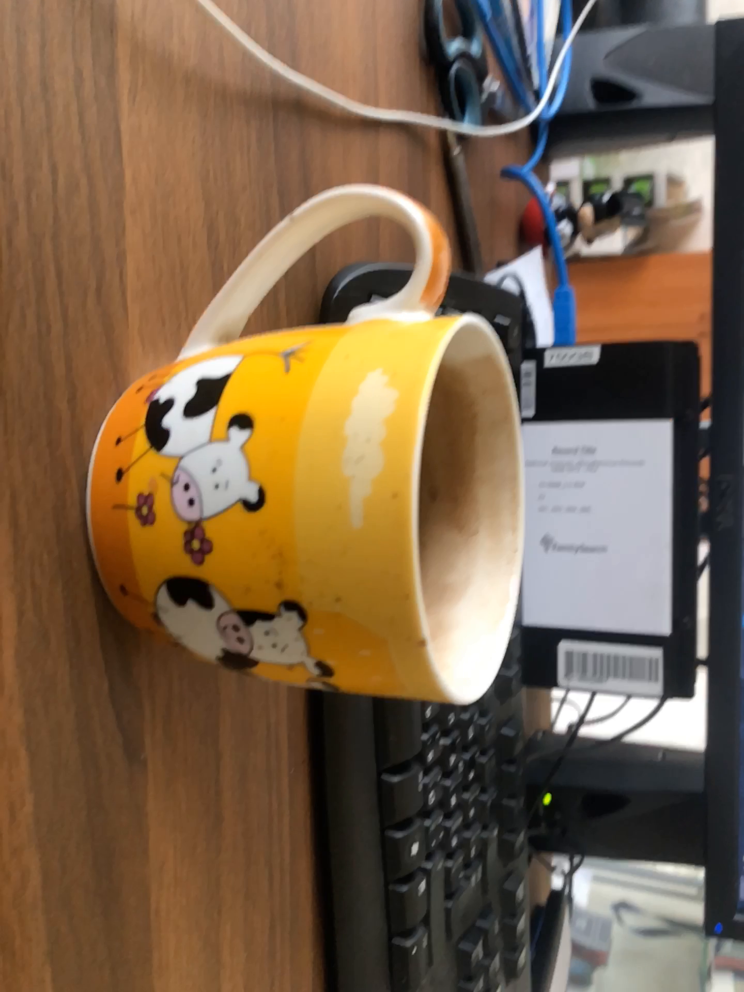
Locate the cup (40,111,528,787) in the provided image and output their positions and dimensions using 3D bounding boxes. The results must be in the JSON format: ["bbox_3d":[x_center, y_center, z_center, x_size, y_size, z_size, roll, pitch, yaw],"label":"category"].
[{"bbox_3d":[-0.016,-0.012,0.226,0.093,0.095,0.135,-11,100,-66],"label":"cup"}]
